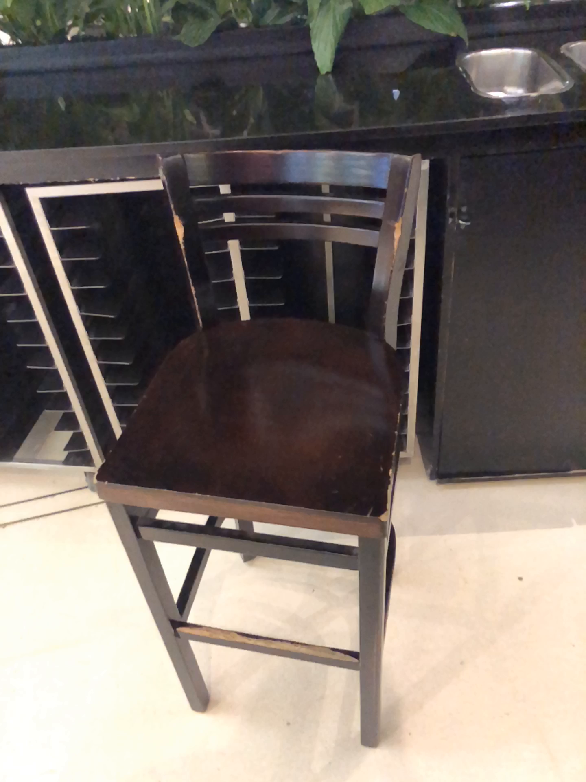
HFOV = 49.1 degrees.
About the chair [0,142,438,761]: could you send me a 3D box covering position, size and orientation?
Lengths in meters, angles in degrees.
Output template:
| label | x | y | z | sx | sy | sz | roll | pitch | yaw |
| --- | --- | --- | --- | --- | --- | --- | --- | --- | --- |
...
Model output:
| label | x | y | z | sx | sy | sz | roll | pitch | yaw |
| --- | --- | --- | --- | --- | --- | --- | --- | --- | --- |
| chair | -0.024 | 0.137 | 1.054 | 0.440 | 0.914 | 0.453 | 5 | 41 | 14 |
